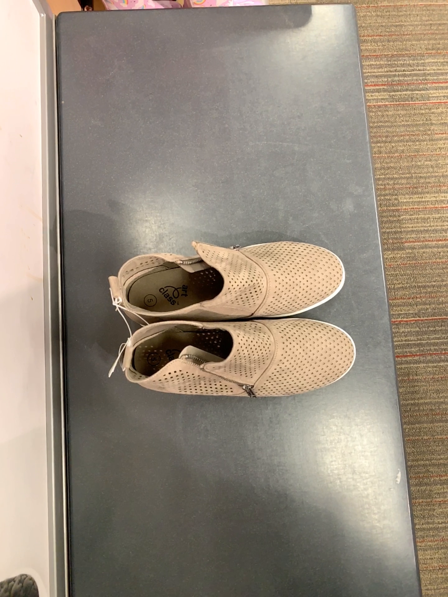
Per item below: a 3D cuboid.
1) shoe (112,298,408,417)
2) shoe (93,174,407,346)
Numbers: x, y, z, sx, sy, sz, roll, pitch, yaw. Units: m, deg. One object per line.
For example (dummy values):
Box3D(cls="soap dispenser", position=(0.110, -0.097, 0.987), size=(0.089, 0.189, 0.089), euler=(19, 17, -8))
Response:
Box3D(cls="shoe", position=(0.030, 0.059, 0.462), size=(0.250, 0.140, 0.100), euler=(0, 83, -1))
Box3D(cls="shoe", position=(0.020, -0.027, 0.456), size=(0.250, 0.140, 0.100), euler=(-10, 83, -2))
